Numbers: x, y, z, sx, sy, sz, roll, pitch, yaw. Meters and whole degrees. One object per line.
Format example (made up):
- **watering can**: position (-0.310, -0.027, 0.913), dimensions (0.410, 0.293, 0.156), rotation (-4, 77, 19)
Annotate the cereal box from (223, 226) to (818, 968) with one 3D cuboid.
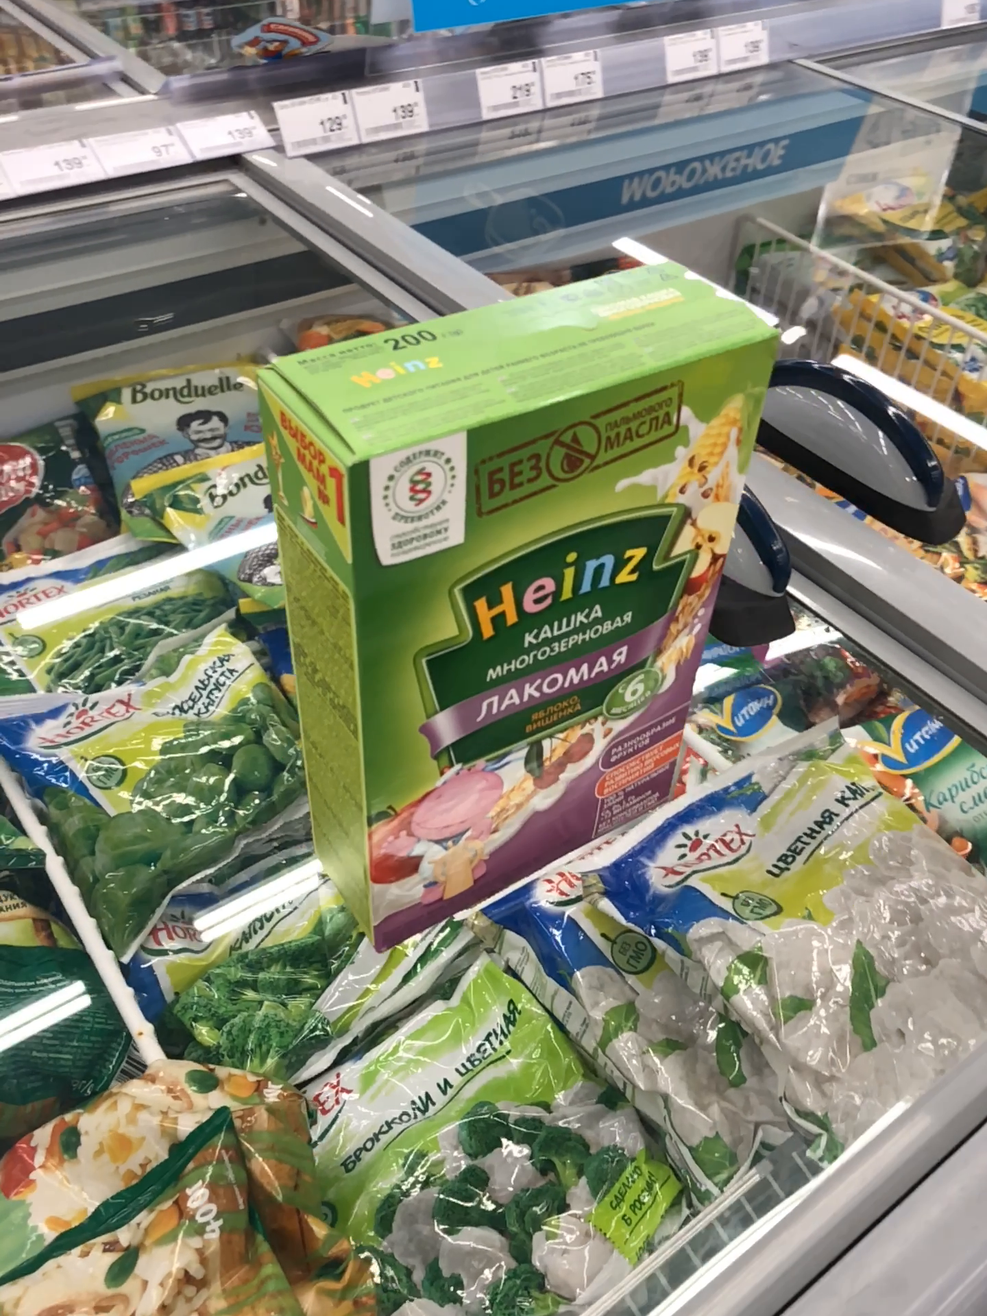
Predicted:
- **cereal box**: position (0.007, -0.011, 0.331), dimensions (0.140, 0.199, 0.050), rotation (-23, 49, -25)
